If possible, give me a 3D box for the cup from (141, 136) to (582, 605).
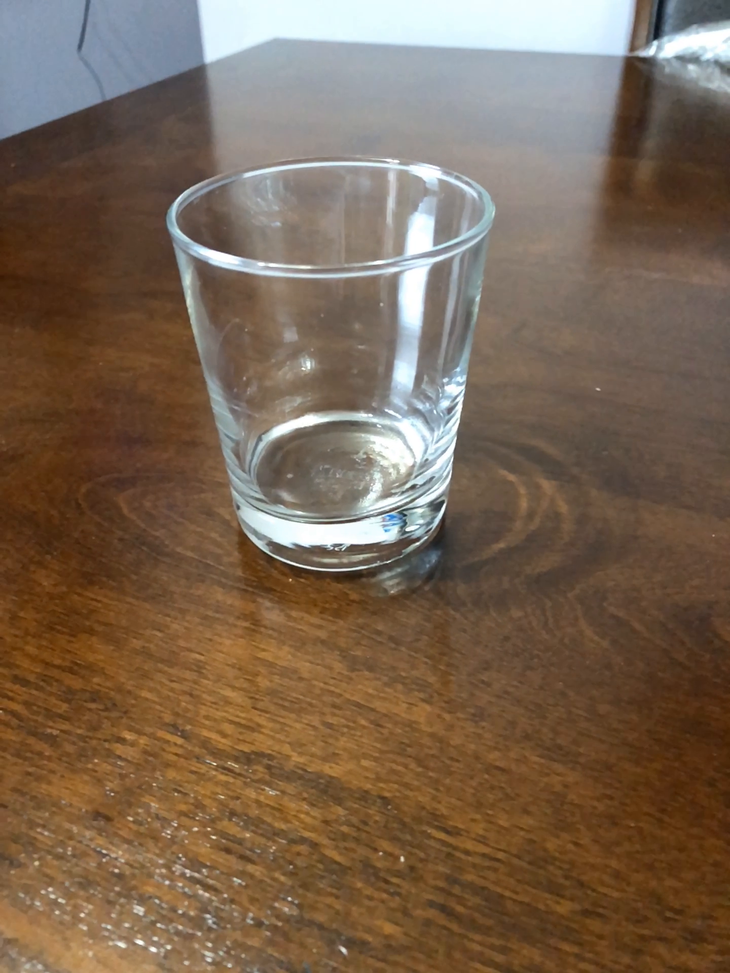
[{"bbox_3d":[-0.007,-0.039,0.235,0.090,0.090,0.090,0,37,0],"label":"cup"}]
